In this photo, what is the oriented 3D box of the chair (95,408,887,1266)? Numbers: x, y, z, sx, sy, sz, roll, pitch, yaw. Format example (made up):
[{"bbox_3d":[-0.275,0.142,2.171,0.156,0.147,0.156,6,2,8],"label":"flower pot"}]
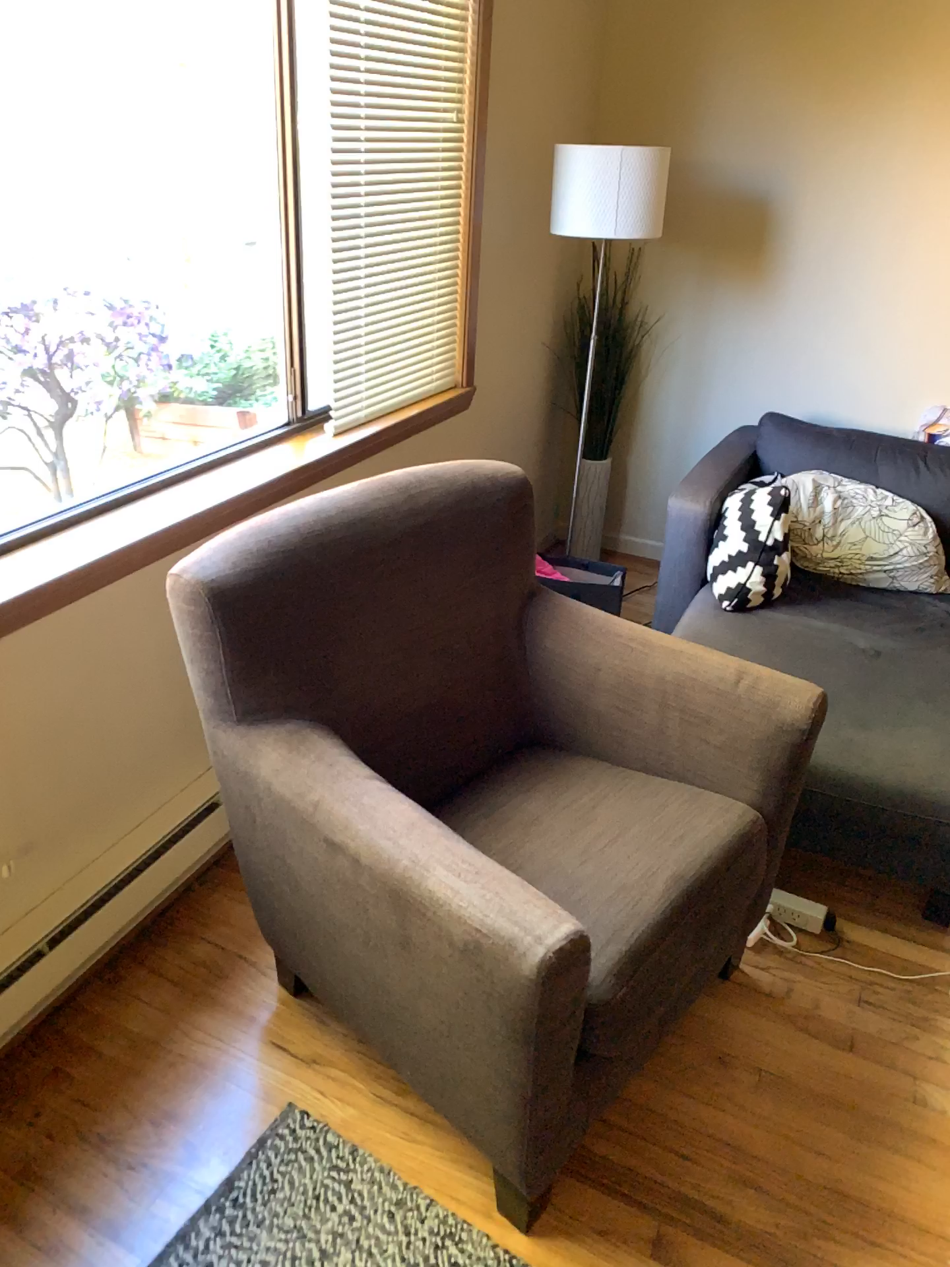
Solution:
[{"bbox_3d":[0.053,0.199,1.614,0.803,0.875,0.882,20,31,34],"label":"chair"}]
